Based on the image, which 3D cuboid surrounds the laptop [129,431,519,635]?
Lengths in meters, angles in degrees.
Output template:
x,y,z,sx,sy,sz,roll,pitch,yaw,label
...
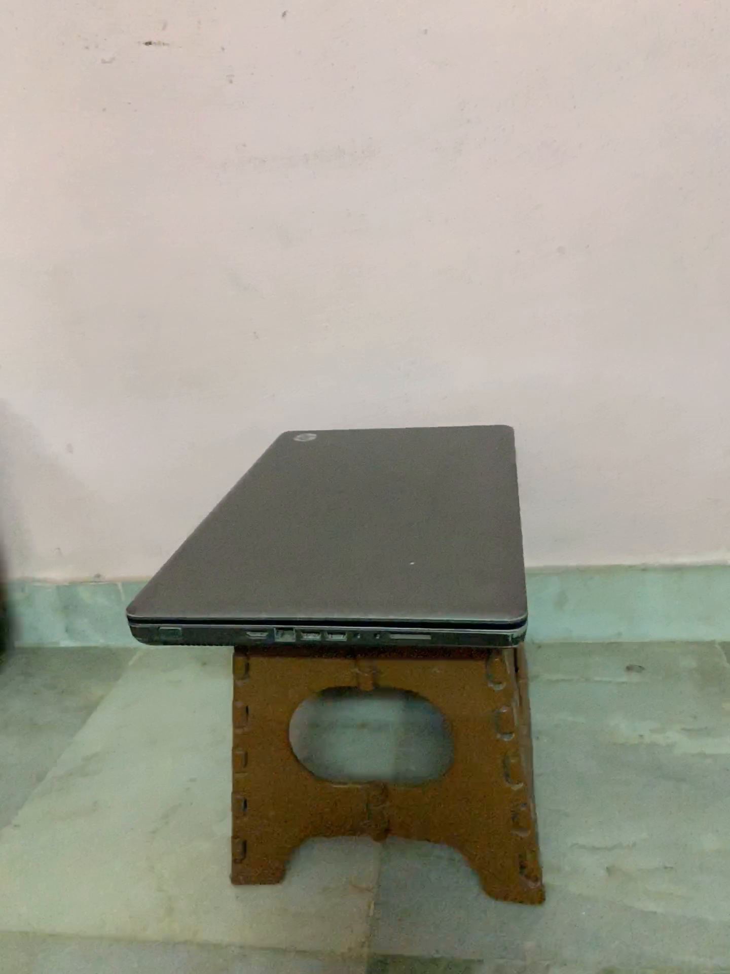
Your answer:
x,y,z,sx,sy,sz,roll,pitch,yaw,label
0.001,0.015,0.627,0.242,0.003,0.380,-1,22,10,laptop
